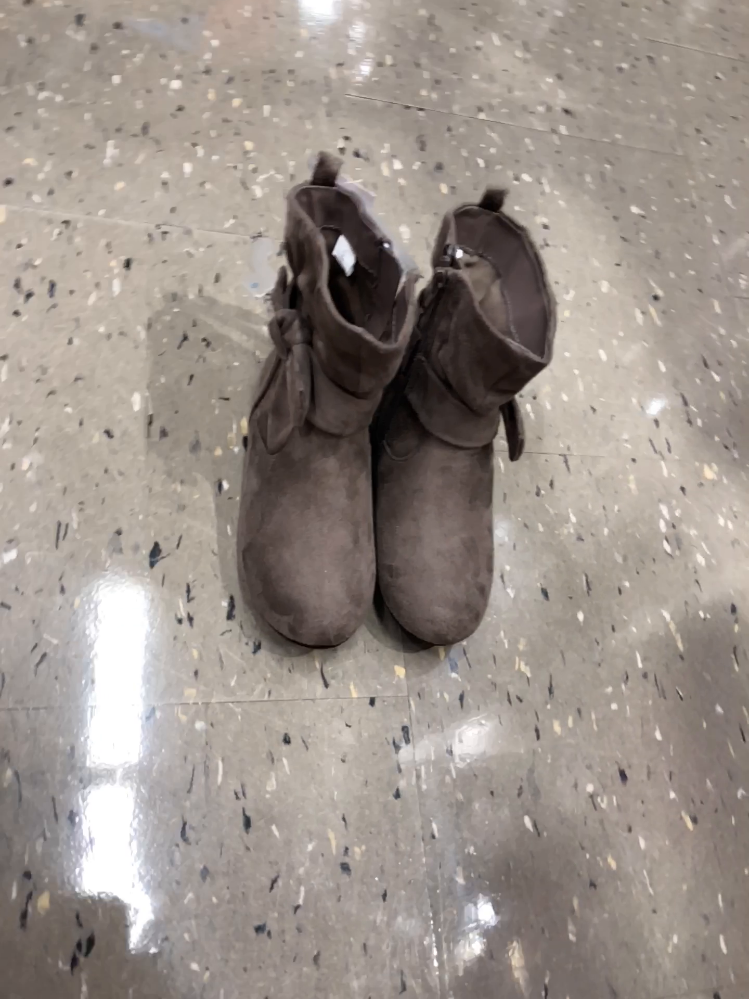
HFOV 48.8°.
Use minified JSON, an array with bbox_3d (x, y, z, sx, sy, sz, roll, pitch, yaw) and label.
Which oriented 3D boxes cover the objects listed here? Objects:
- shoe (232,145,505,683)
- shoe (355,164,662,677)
[{"bbox_3d":[-0.014,-0.031,0.405,0.080,0.160,0.200,6,63,-14],"label":"shoe"},{"bbox_3d":[0.049,-0.030,0.423,0.080,0.160,0.200,6,63,-14],"label":"shoe"}]
